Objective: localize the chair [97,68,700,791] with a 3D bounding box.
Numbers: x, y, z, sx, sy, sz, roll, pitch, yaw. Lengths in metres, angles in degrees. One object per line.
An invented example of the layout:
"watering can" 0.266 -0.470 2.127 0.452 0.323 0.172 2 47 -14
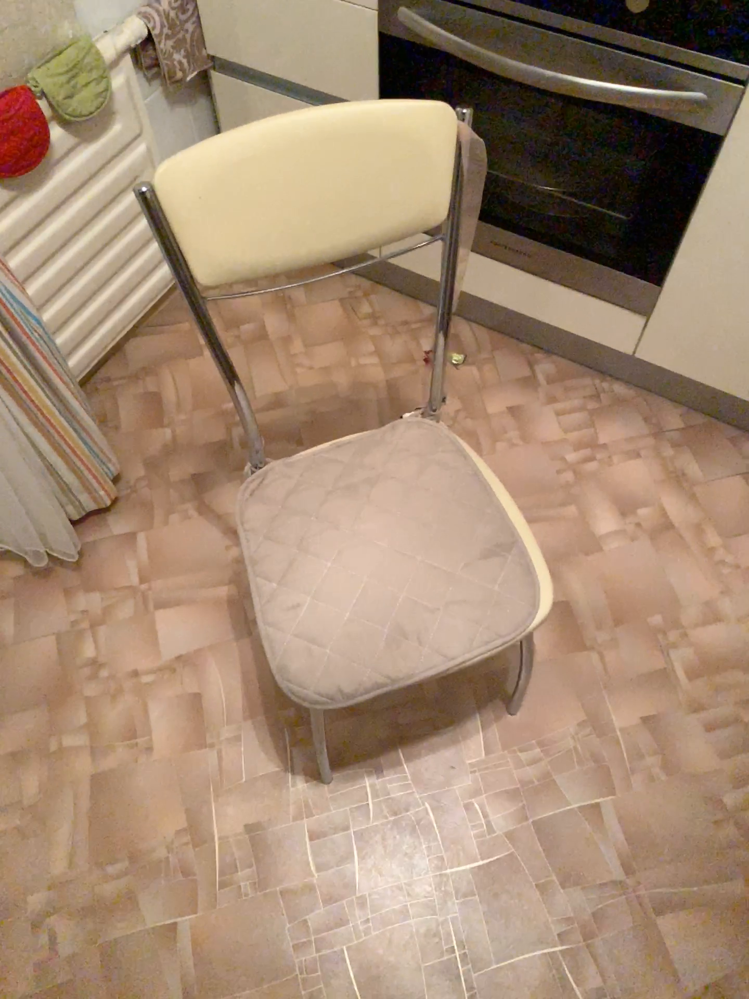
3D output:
"chair" -0.008 0.005 1.043 0.384 0.855 0.493 -18 60 -10
